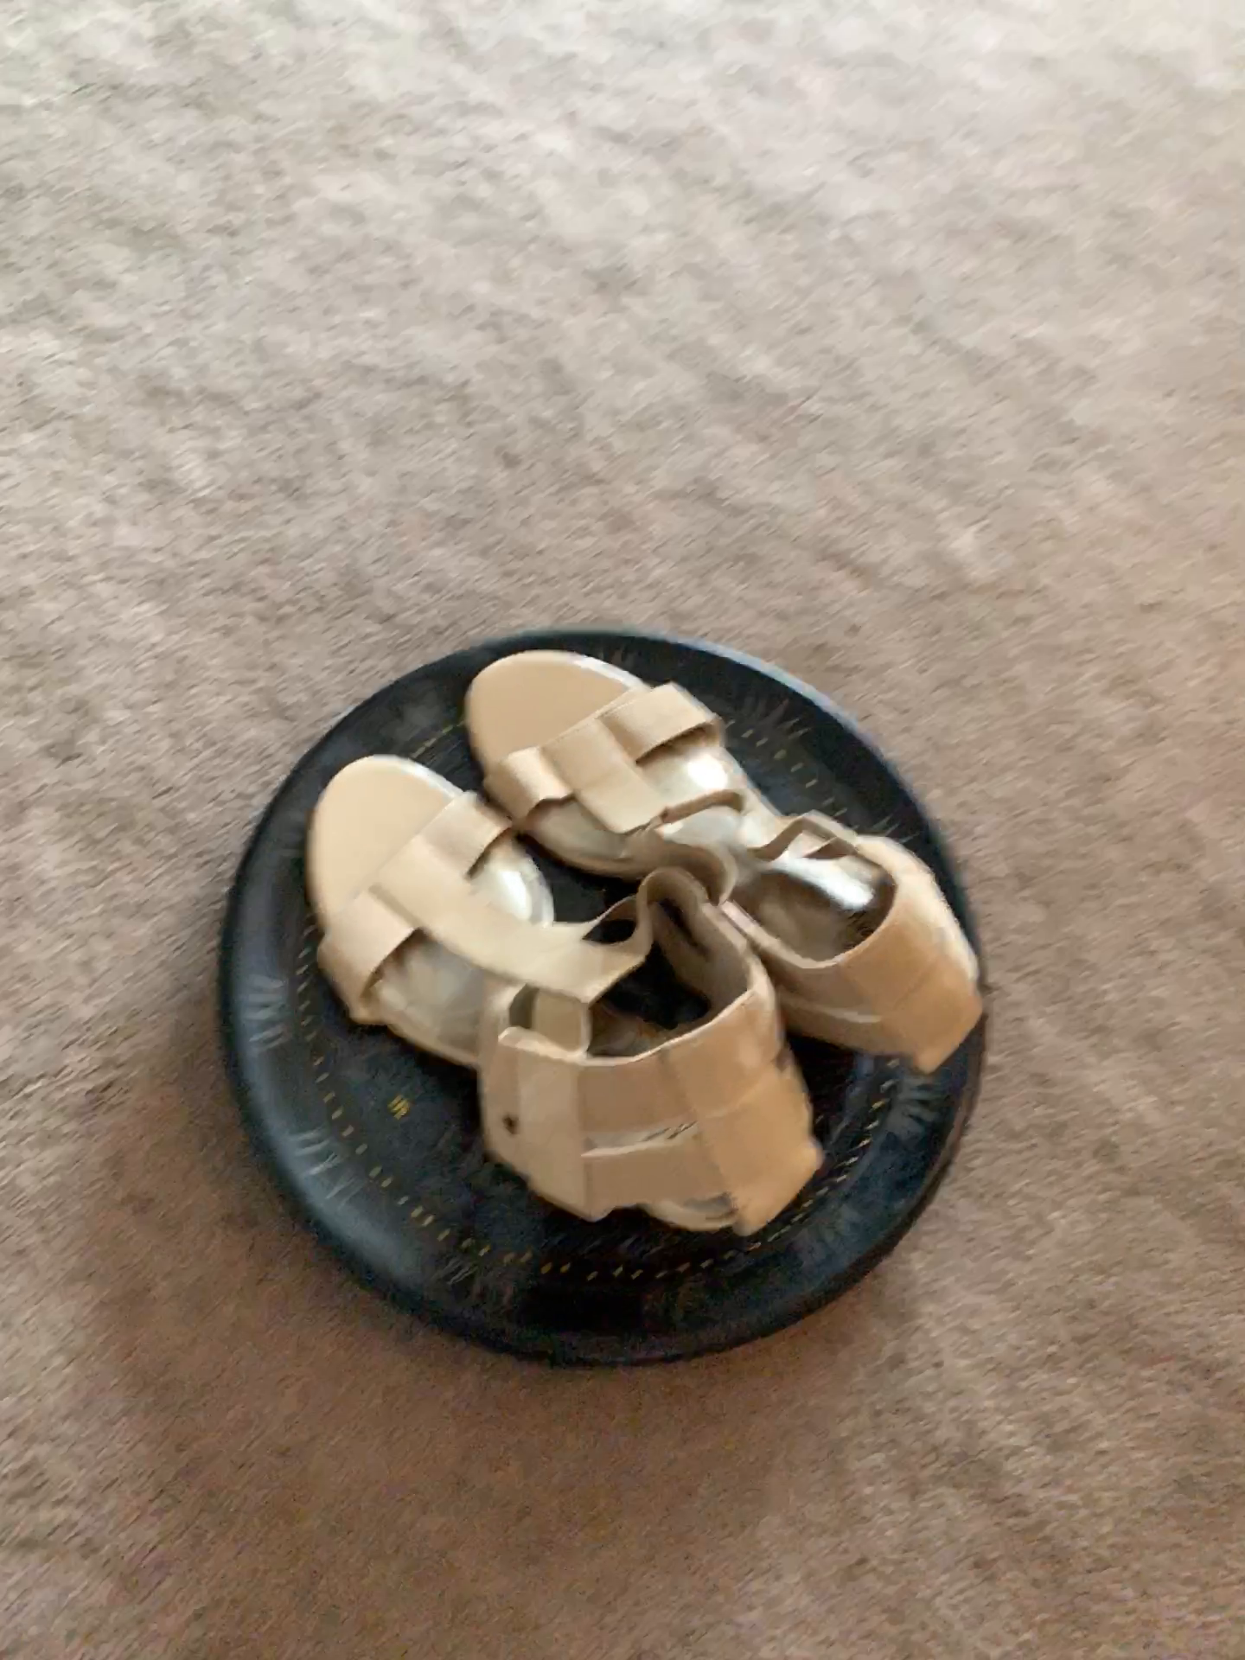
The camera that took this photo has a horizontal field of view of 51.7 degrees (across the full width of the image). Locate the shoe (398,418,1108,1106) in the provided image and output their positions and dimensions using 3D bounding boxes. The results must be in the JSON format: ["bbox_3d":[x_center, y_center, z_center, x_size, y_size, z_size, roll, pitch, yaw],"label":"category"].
[{"bbox_3d":[0.034,-0.022,0.449,0.220,0.100,0.090,41,68,10],"label":"shoe"}]

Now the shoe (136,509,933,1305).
[{"bbox_3d":[-0.032,0.026,0.405,0.100,0.100,0.220,-41,77,-21],"label":"shoe"}]
